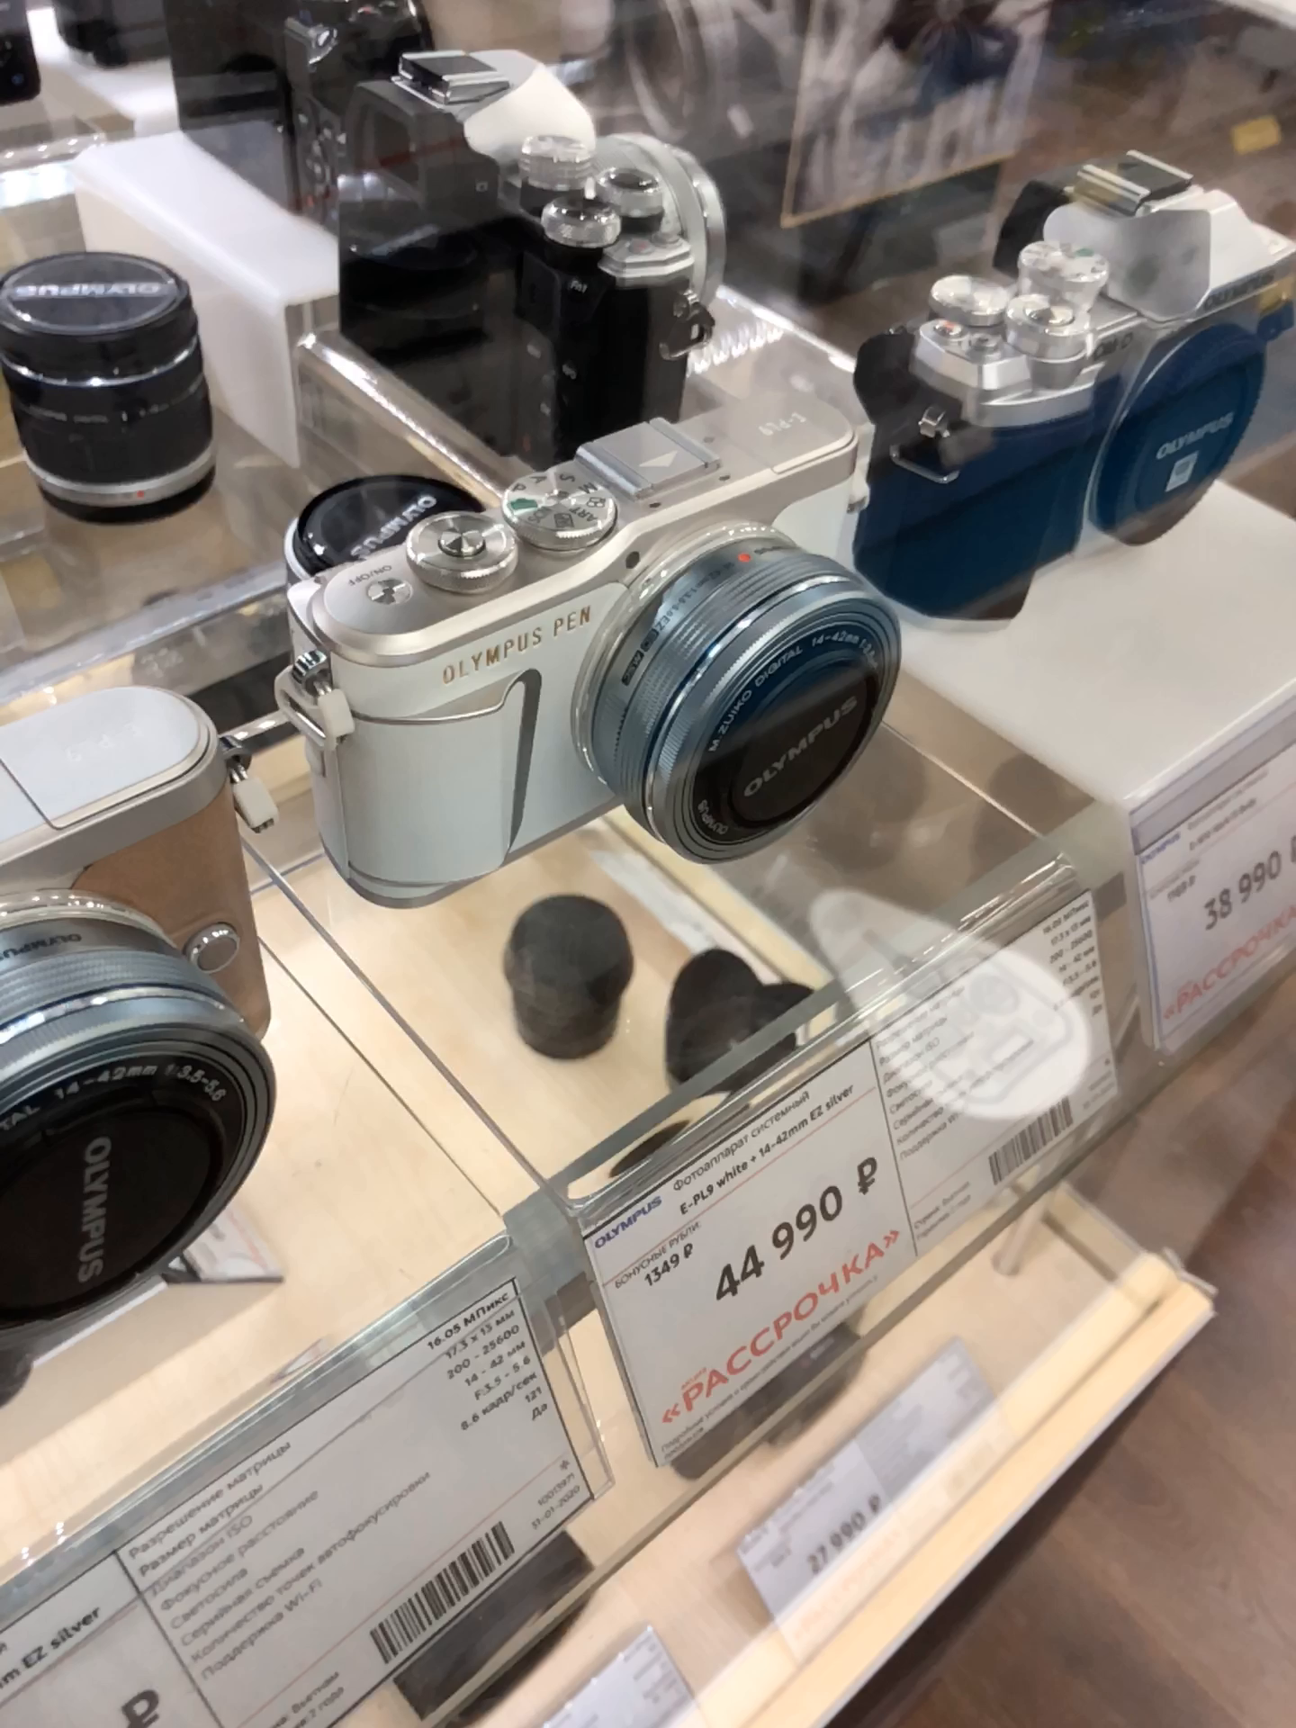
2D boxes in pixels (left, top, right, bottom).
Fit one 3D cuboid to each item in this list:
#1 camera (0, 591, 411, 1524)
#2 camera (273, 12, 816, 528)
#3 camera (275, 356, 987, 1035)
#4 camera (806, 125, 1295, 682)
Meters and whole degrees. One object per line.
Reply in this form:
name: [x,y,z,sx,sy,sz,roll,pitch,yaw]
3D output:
camera: [-0.088,0.023,0.197,0.088,0.072,0.061,-32,57,-31]
camera: [-0.029,-0.154,0.365,0.072,0.072,0.114,-31,56,-30]
camera: [-0.001,-0.035,0.268,0.115,0.070,0.053,-32,57,-30]
camera: [0.098,-0.103,0.314,0.114,0.072,0.053,-32,57,-30]
